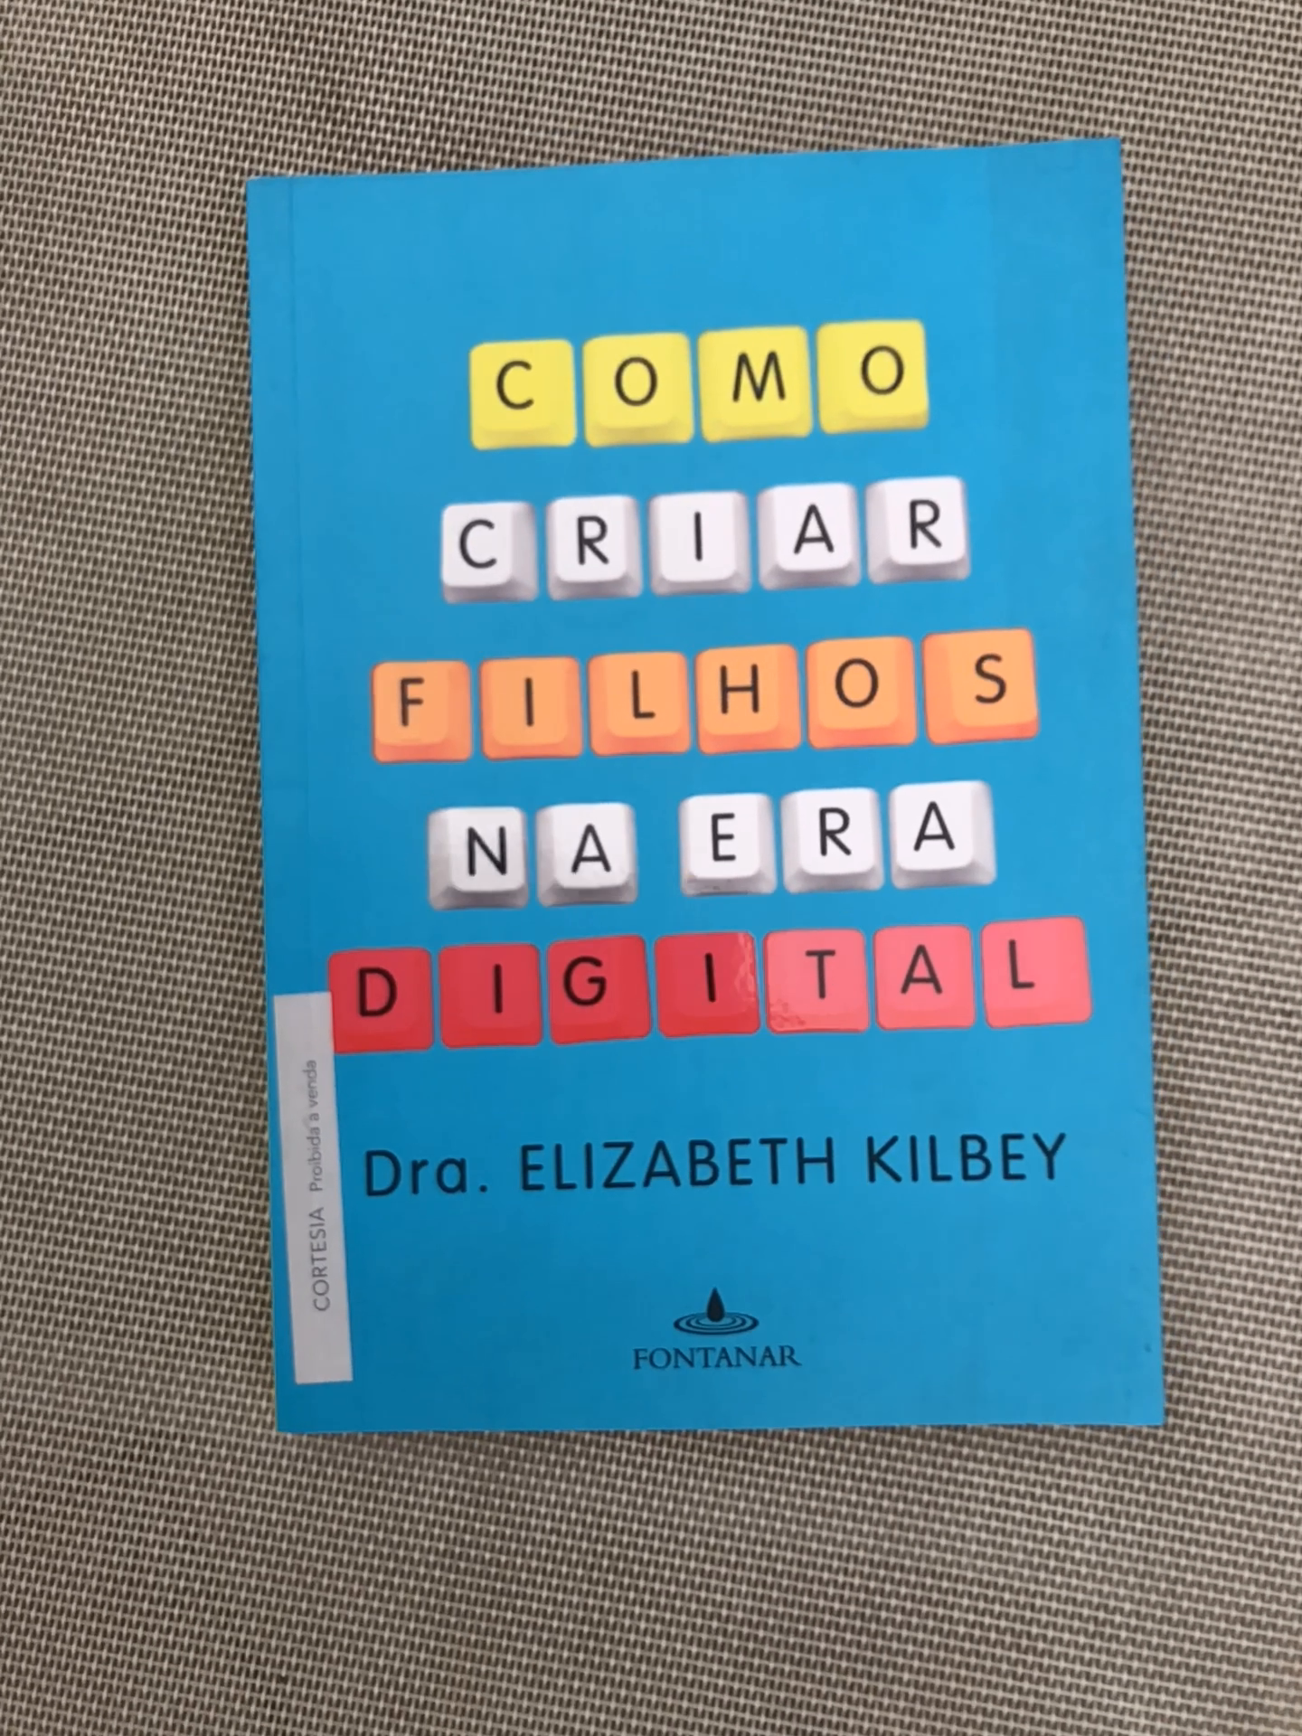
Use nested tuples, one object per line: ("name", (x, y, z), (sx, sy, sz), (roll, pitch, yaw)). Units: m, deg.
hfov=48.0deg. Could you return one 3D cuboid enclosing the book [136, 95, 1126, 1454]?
("book", (-0.005, -0.016, 0.261), (0.163, 0.020, 0.228), (-2, 88, 2))
